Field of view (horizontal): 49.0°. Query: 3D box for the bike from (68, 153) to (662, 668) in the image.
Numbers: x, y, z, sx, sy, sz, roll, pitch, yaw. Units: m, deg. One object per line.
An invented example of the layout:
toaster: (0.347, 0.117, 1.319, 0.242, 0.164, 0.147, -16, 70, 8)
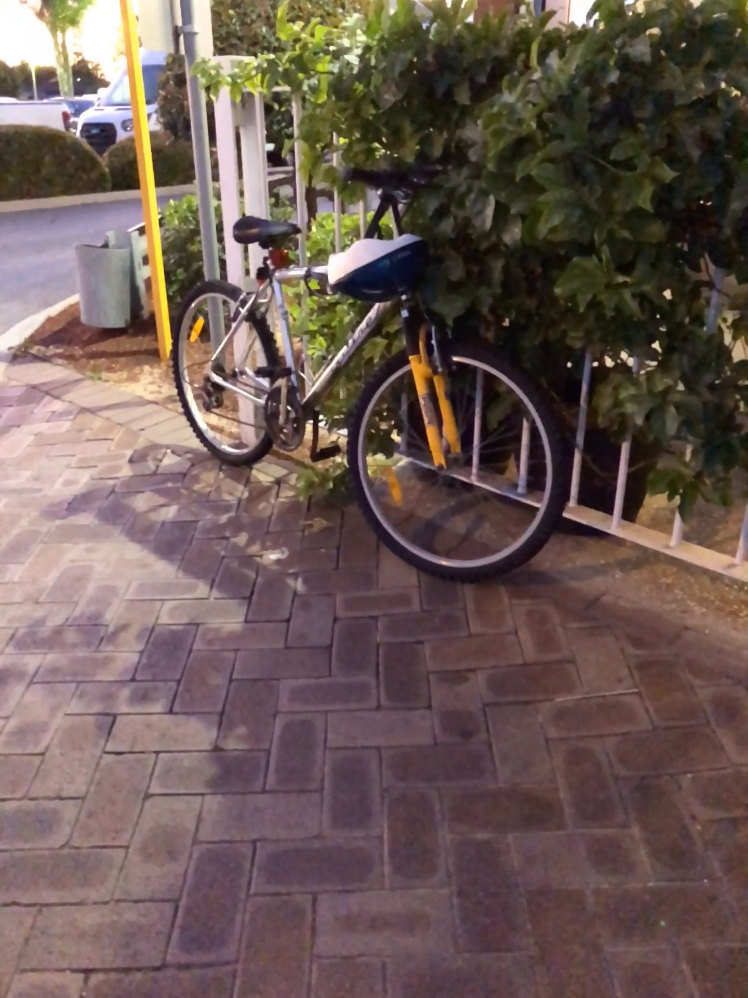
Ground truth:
bike: (-0.157, -0.419, 2.344, 0.553, 0.995, 1.698, -22, 33, -39)
